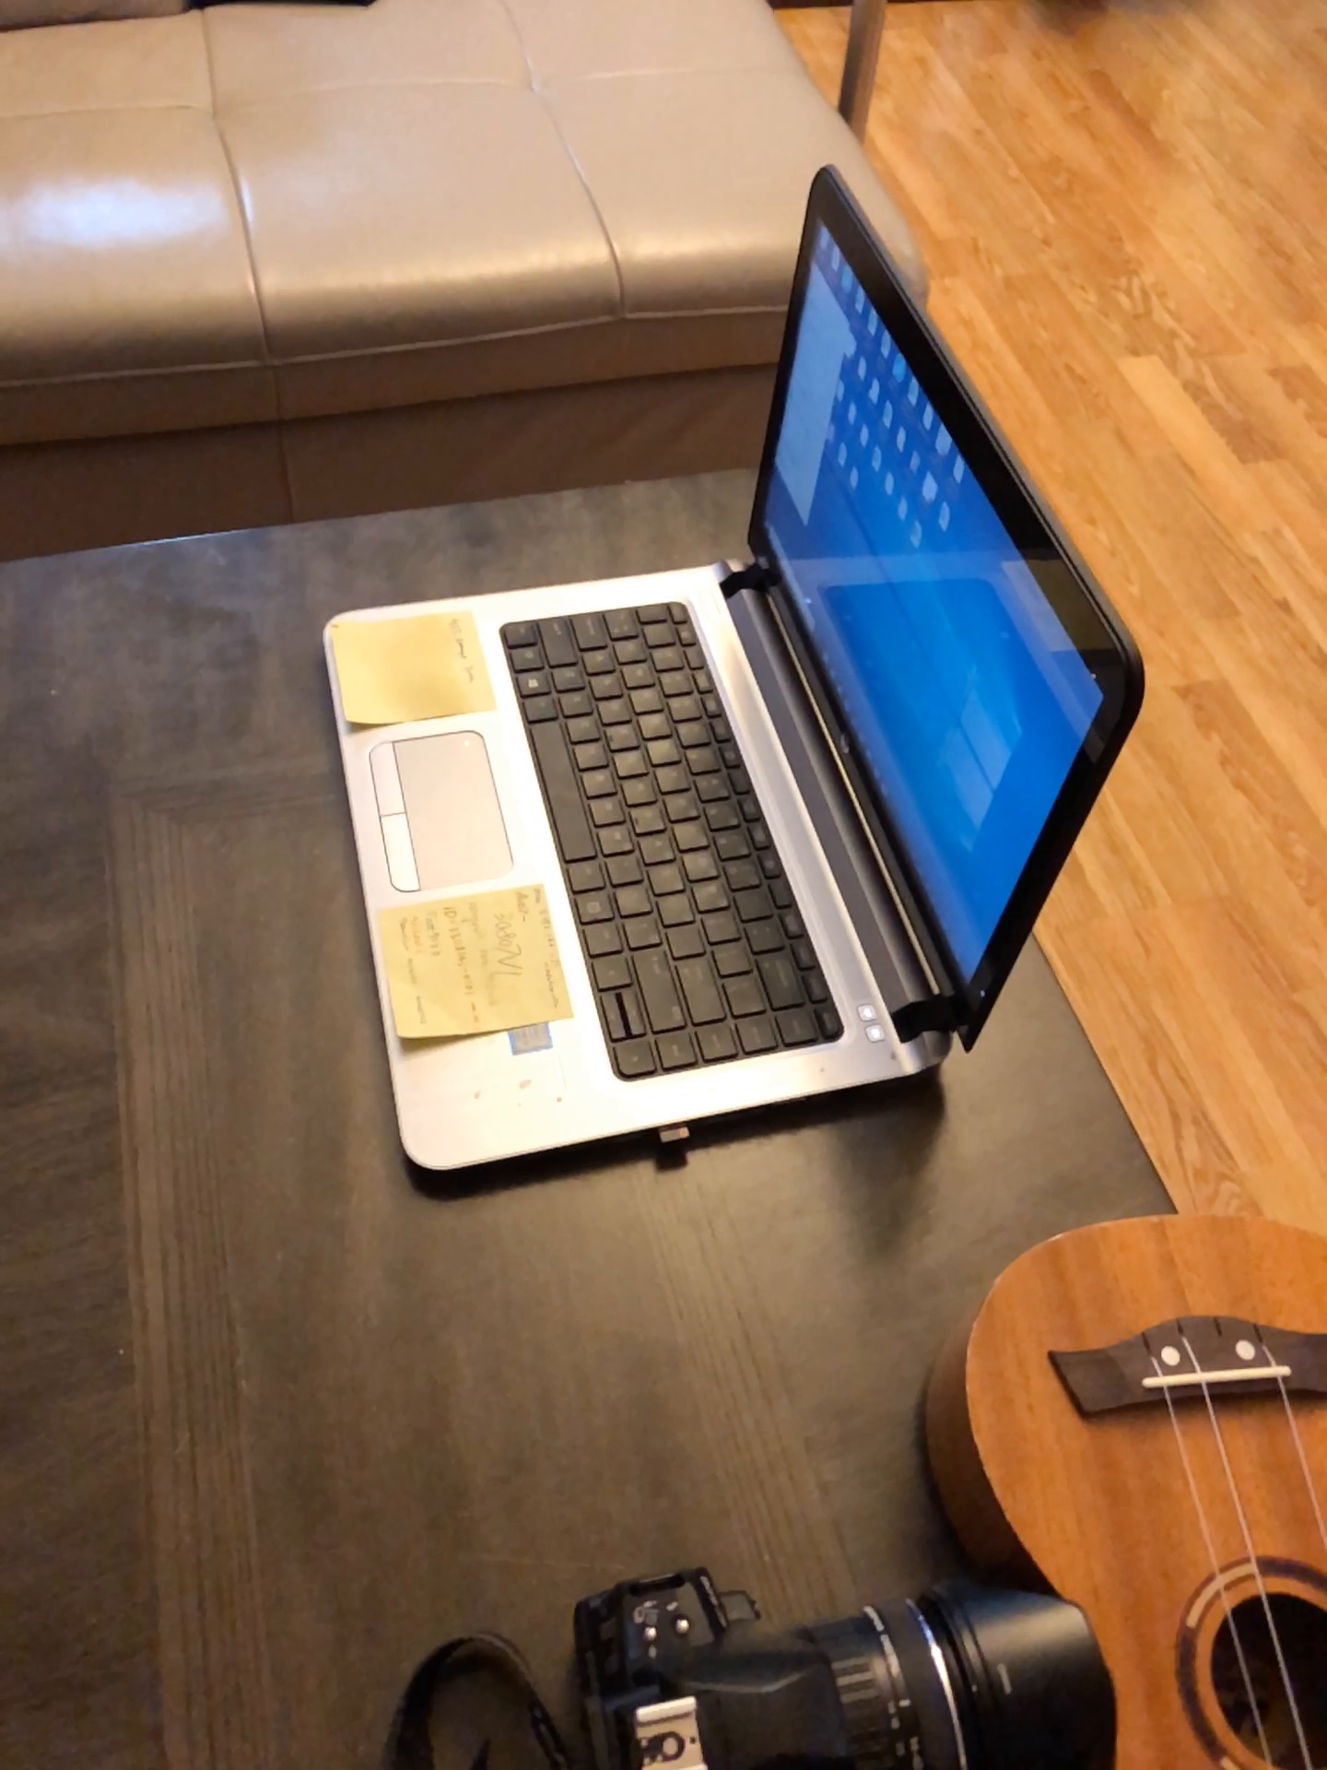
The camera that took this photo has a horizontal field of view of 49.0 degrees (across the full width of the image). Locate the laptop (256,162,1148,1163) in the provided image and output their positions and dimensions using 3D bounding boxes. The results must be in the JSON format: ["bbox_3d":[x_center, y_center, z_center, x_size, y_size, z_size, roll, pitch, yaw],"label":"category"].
[{"bbox_3d":[-0.013,-0.102,0.611,0.246,0.217,0.319,-11,54,-10],"label":"laptop"}]
